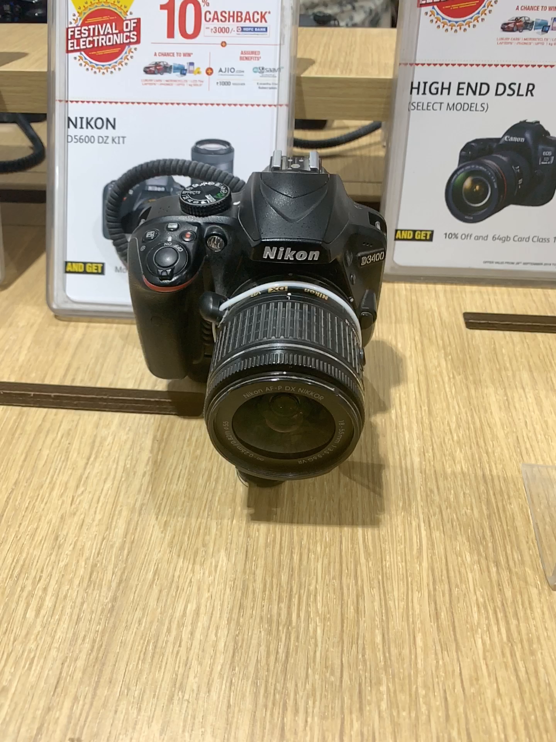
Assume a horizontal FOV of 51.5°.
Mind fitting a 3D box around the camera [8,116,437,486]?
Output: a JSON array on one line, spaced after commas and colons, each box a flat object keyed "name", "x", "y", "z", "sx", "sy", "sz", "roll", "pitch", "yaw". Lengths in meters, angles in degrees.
[{"name": "camera", "x": -0.014, "y": -0.033, "z": 0.239, "sx": 0.120, "sy": 0.100, "sz": 0.120, "roll": 1, "pitch": 42, "yaw": 2}]
